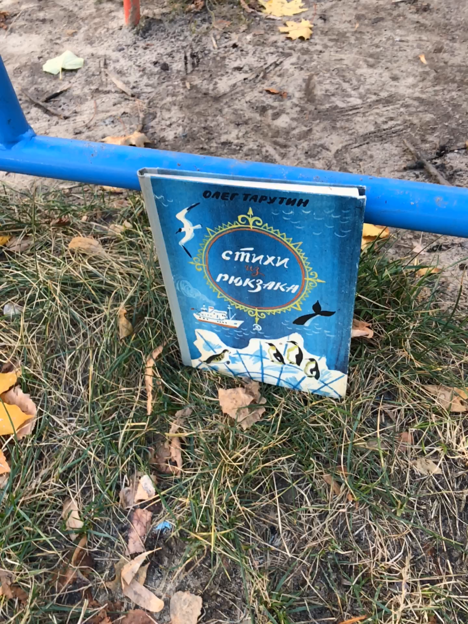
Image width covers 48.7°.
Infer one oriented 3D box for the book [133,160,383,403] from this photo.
[{"bbox_3d":[0.017,-0.016,0.439,0.179,0.209,0.023,10,42,12],"label":"book"}]
